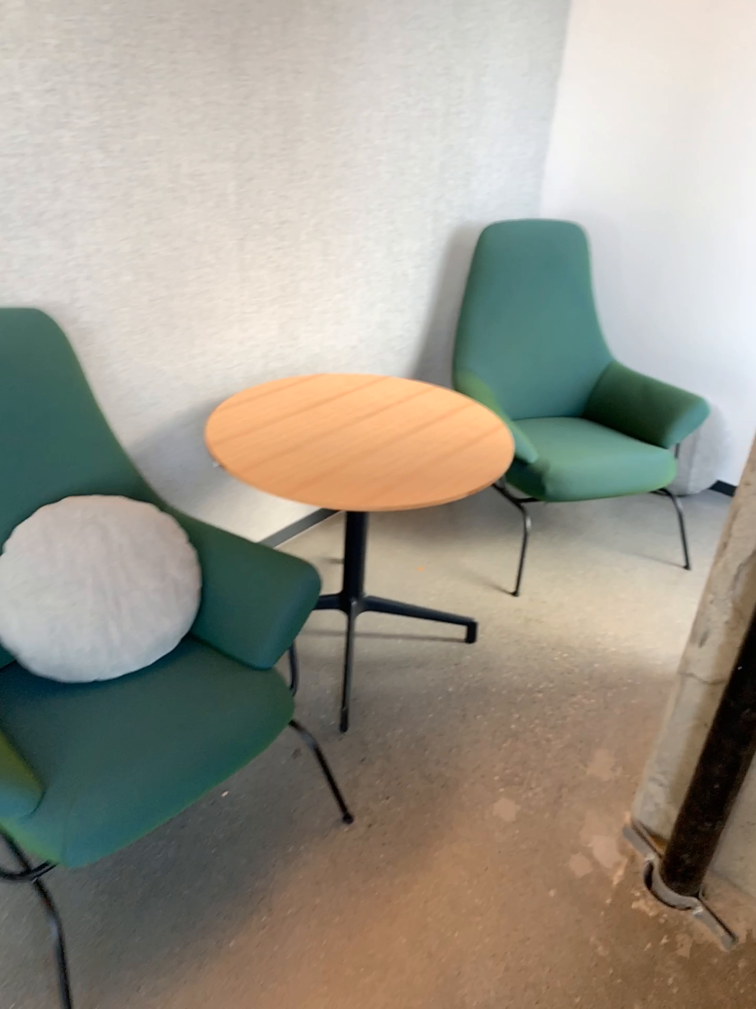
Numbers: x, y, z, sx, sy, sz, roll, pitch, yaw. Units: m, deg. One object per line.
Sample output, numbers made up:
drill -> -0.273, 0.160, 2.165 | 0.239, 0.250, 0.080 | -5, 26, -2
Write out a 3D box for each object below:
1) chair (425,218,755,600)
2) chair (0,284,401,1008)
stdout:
chair -> 0.639, -0.360, 2.600 | 0.650, 1.014, 0.755 | -7, 30, -17
chair -> -0.534, 0.205, 1.533 | 0.843, 0.994, 0.722 | 26, 37, 36
